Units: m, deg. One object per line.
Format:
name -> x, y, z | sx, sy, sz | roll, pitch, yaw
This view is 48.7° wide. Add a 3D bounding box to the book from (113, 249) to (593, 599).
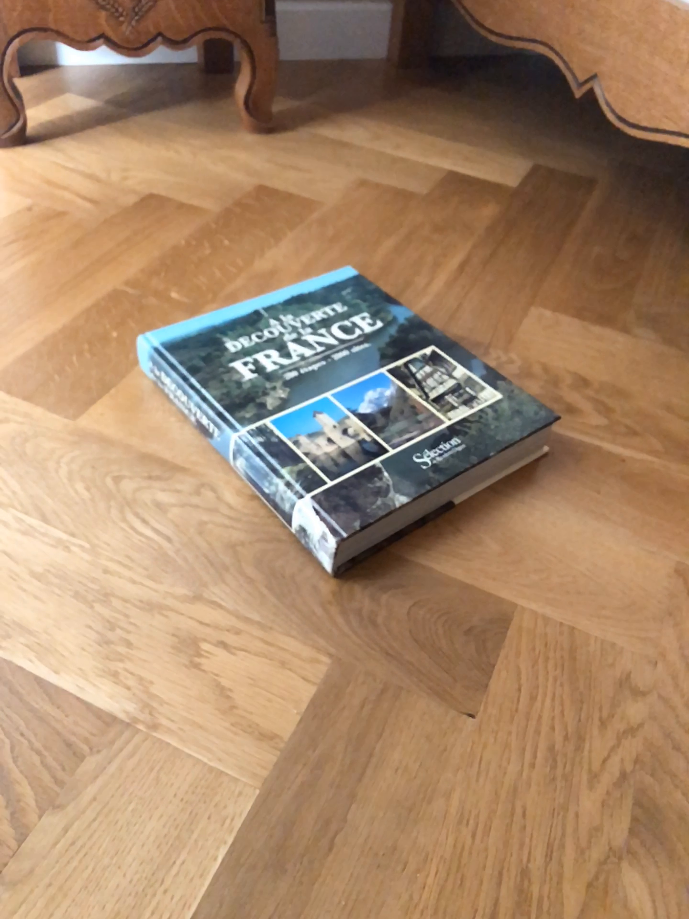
book -> 0.000, -0.057, 0.610 | 0.251, 0.040, 0.290 | -26, 52, -30
